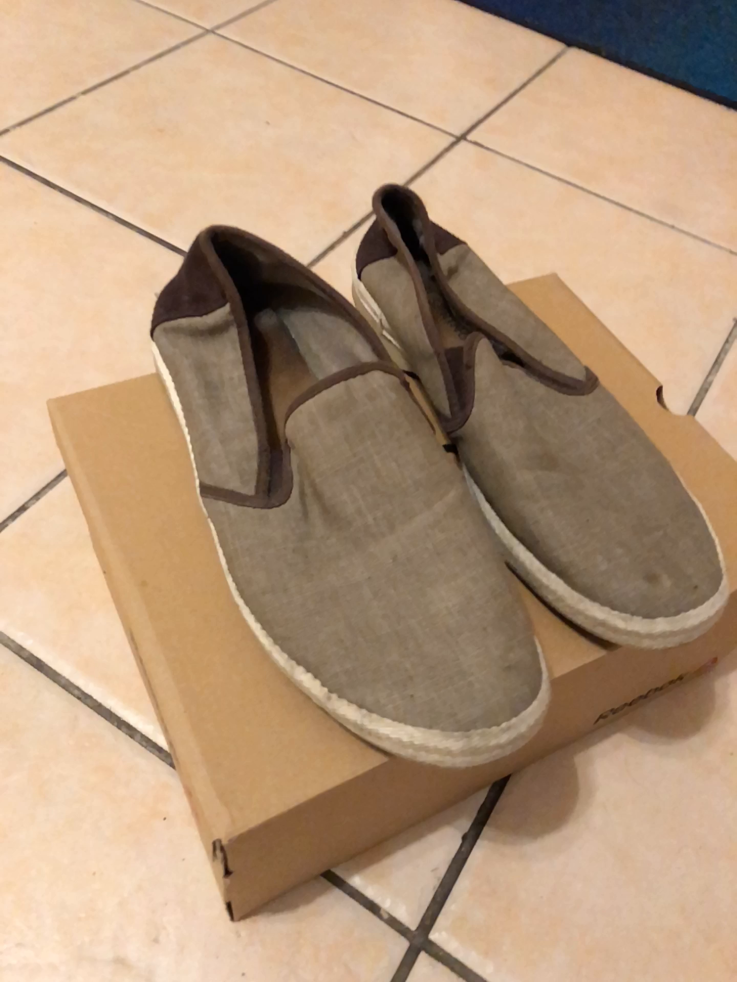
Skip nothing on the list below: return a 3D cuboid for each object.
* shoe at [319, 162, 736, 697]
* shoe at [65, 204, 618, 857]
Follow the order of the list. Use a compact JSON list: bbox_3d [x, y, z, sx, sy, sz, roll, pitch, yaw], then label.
[{"bbox_3d":[0.076,-0.051,0.394,0.100,0.069,0.271,-16,55,-20],"label":"shoe"},{"bbox_3d":[-0.033,-0.010,0.366,0.110,0.069,0.293,-19,56,-22],"label":"shoe"}]
